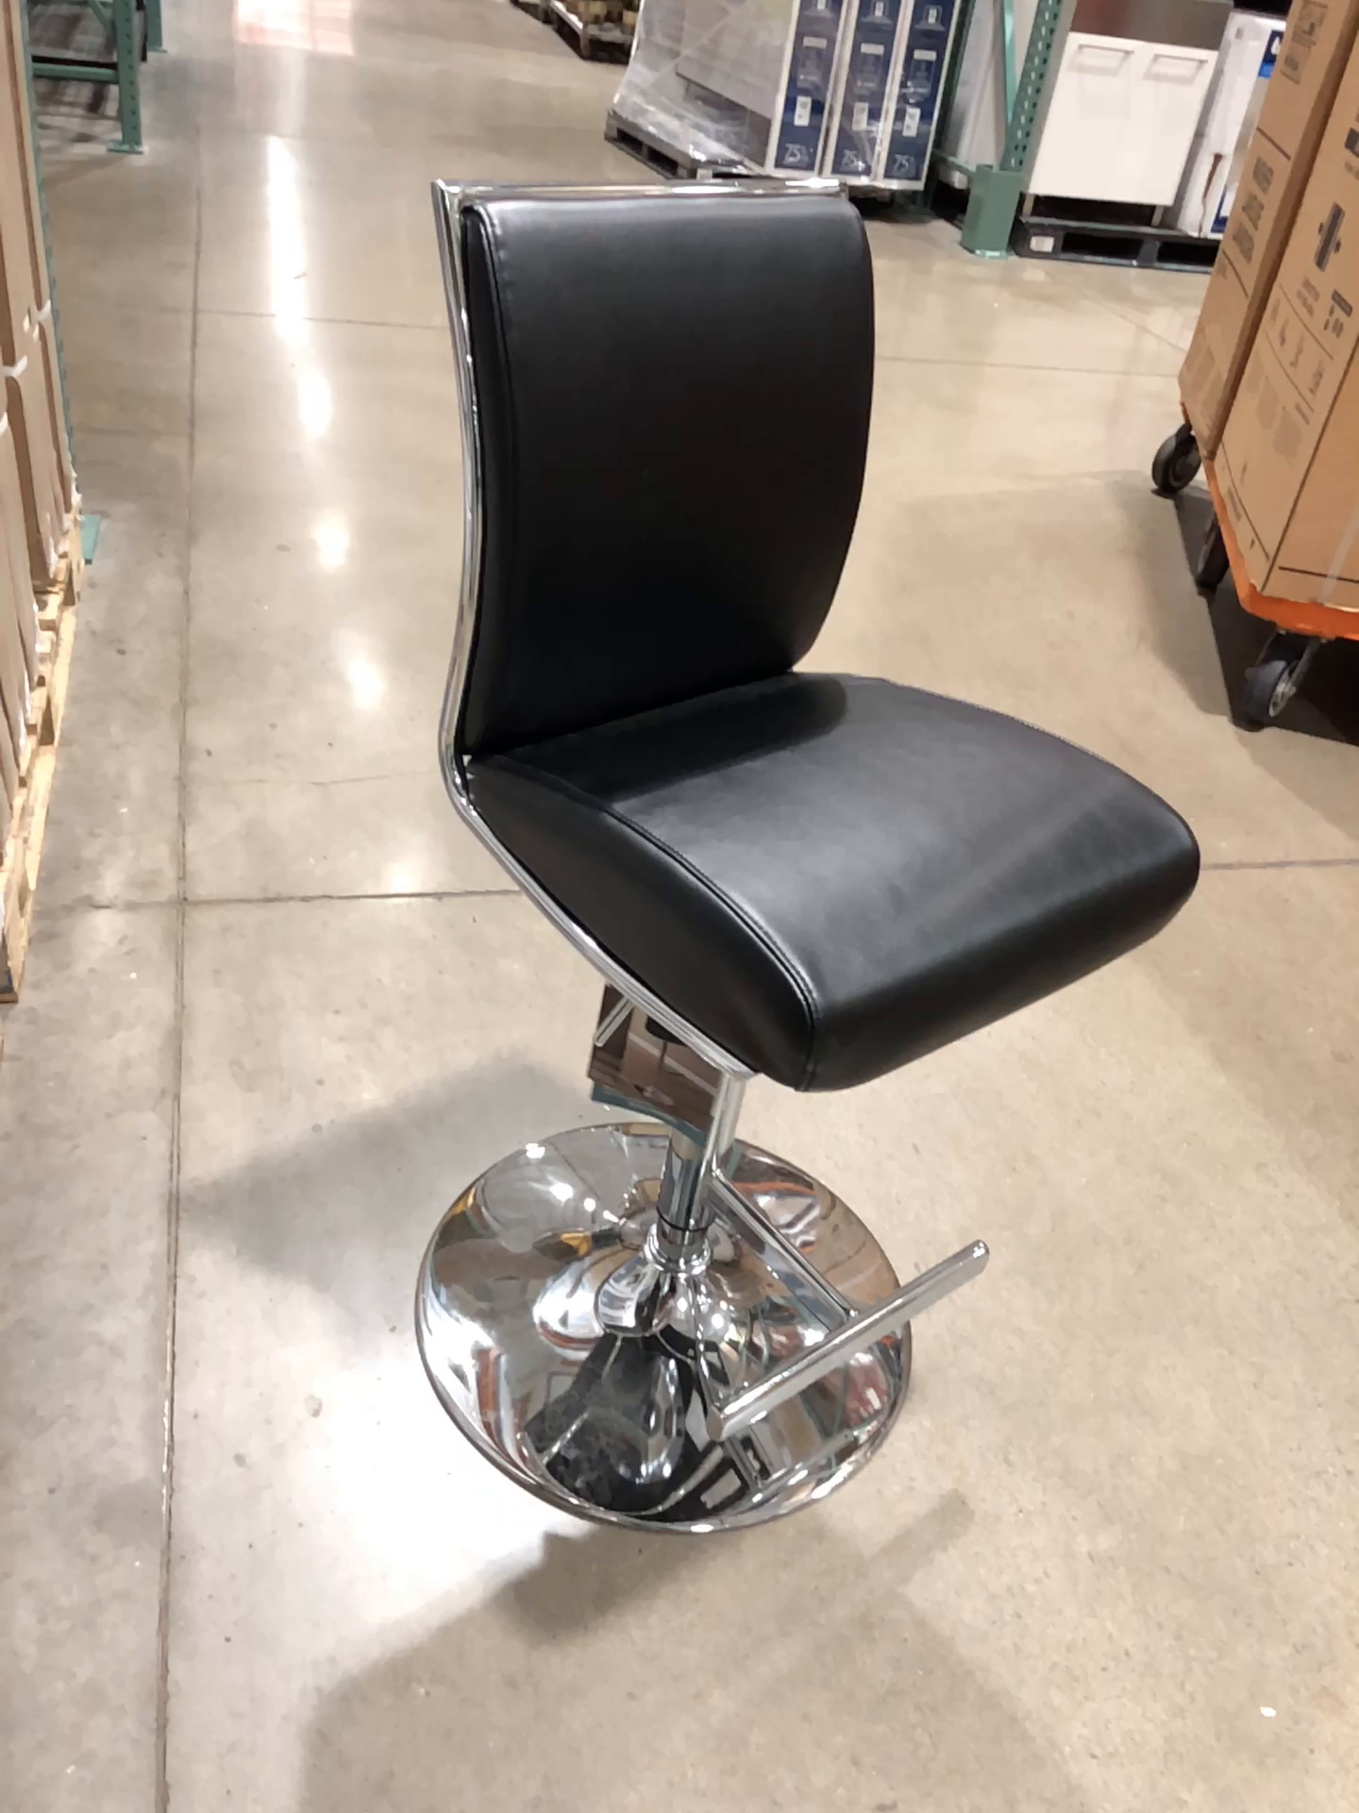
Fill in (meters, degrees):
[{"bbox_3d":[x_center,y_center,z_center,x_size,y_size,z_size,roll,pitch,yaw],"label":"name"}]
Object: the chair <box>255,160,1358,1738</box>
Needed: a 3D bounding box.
[{"bbox_3d":[0.063,0.007,1.145,0.531,0.946,0.541,-23,45,-39],"label":"chair"}]
